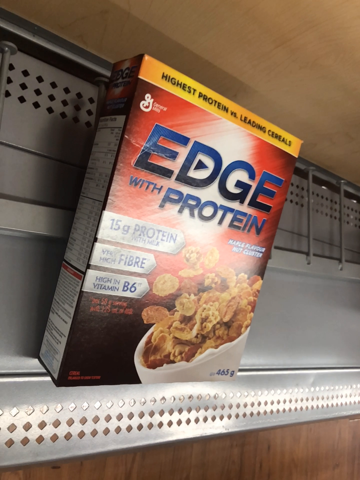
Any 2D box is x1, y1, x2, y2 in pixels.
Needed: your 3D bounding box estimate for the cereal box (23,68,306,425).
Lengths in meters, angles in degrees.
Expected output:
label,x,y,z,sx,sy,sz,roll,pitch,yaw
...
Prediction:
label,x,y,z,sx,sy,sz,roll,pitch,yaw
cereal box,-0.004,0.019,0.369,0.201,0.070,0.260,14,90,-36
